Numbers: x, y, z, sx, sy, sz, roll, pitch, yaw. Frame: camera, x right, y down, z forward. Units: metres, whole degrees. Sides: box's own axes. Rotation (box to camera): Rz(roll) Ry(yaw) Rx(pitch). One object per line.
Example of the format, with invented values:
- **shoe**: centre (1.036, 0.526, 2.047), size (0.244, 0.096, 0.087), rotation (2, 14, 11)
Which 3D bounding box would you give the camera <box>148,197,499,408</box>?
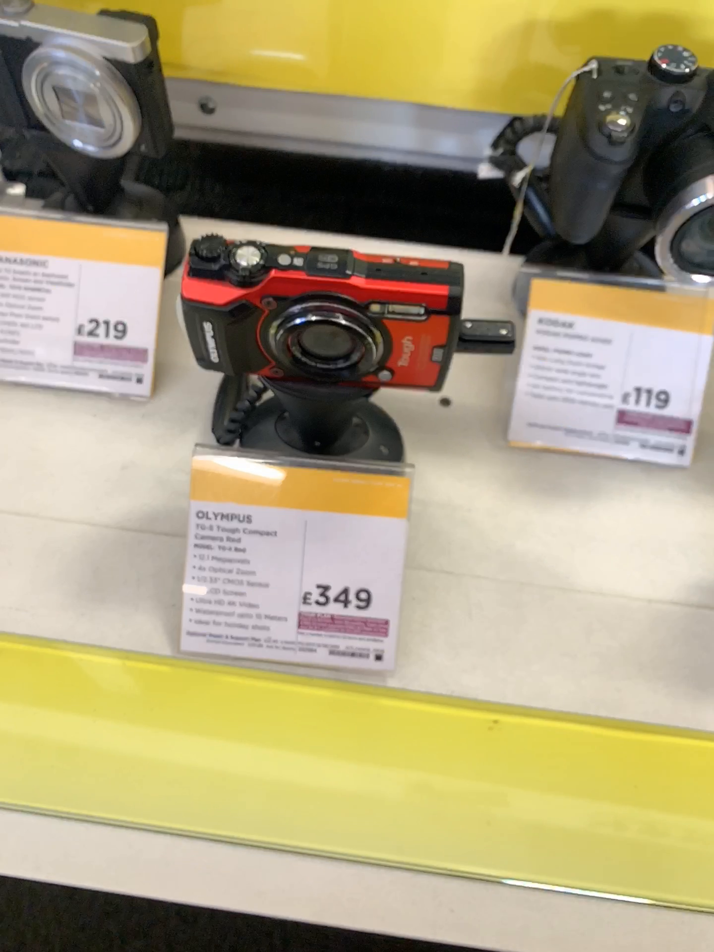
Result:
- **camera**: centre (-0.011, -0.065, 0.289), size (0.120, 0.060, 0.040), rotation (5, 62, 1)
